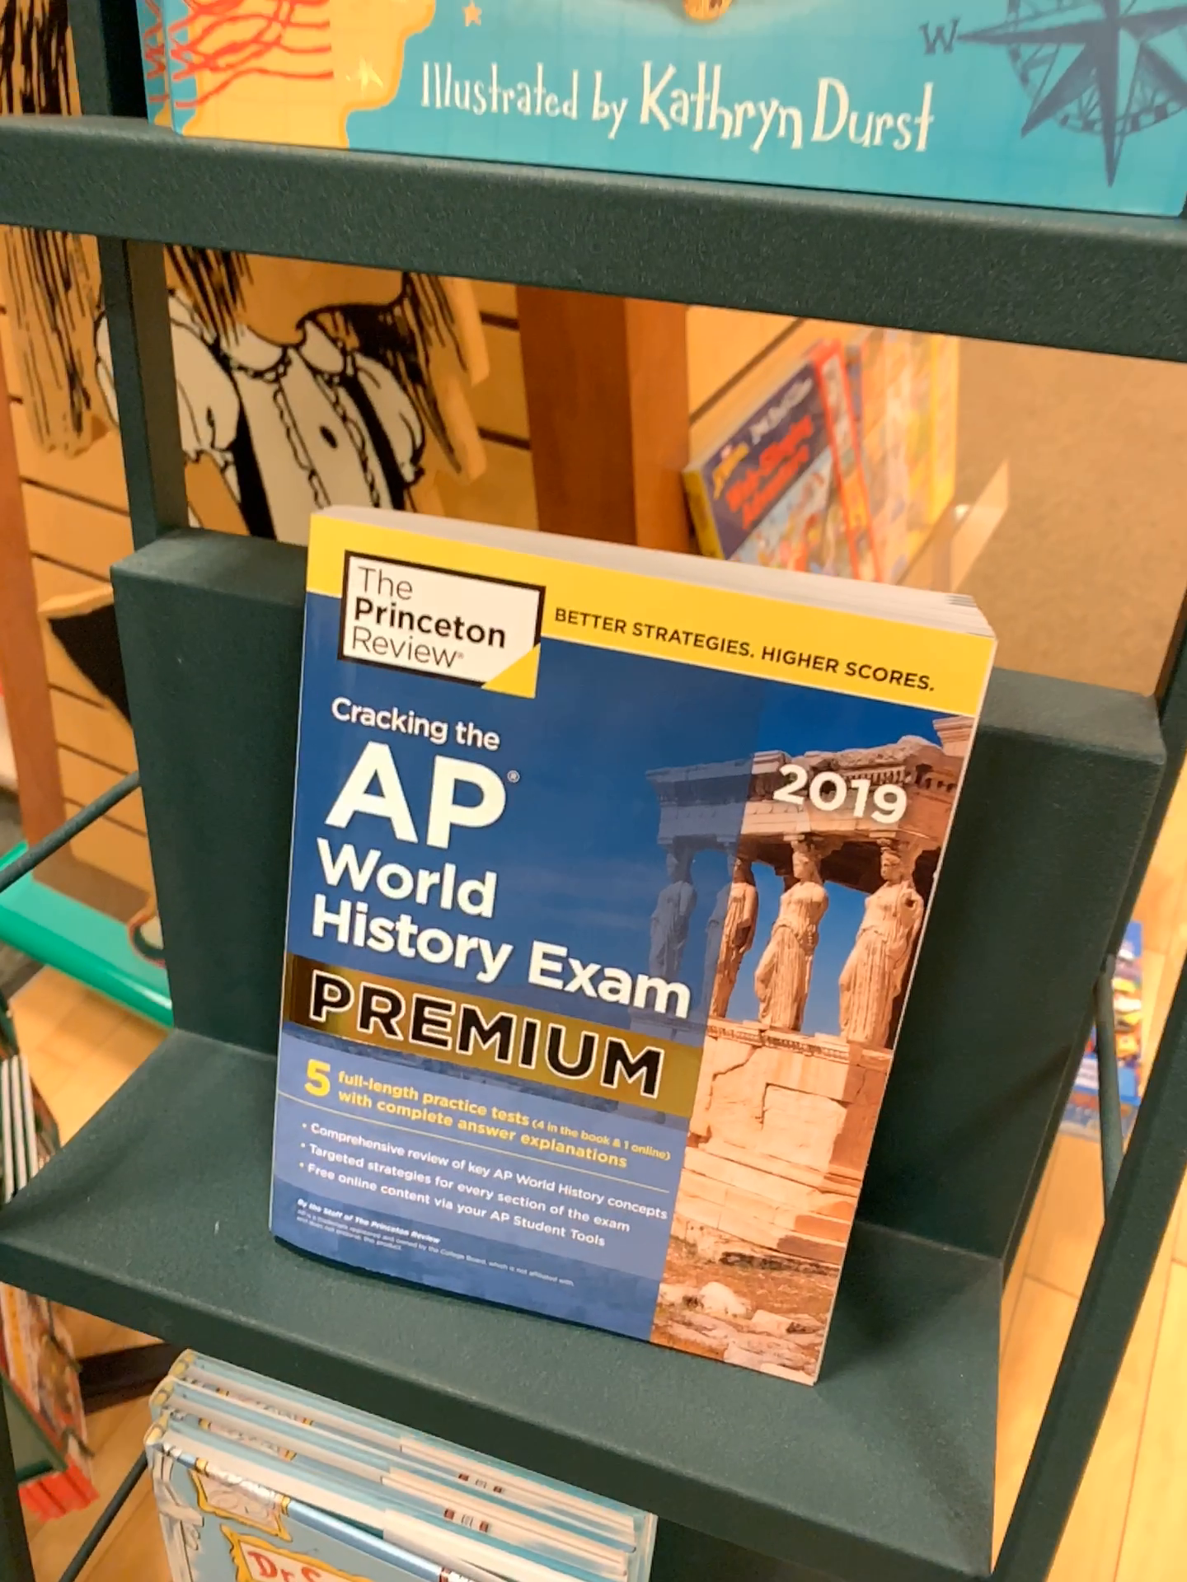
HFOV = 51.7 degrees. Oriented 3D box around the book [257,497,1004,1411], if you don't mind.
[{"bbox_3d":[0.000,0.052,0.417,0.214,0.269,0.057,11,18,13],"label":"book"}]
